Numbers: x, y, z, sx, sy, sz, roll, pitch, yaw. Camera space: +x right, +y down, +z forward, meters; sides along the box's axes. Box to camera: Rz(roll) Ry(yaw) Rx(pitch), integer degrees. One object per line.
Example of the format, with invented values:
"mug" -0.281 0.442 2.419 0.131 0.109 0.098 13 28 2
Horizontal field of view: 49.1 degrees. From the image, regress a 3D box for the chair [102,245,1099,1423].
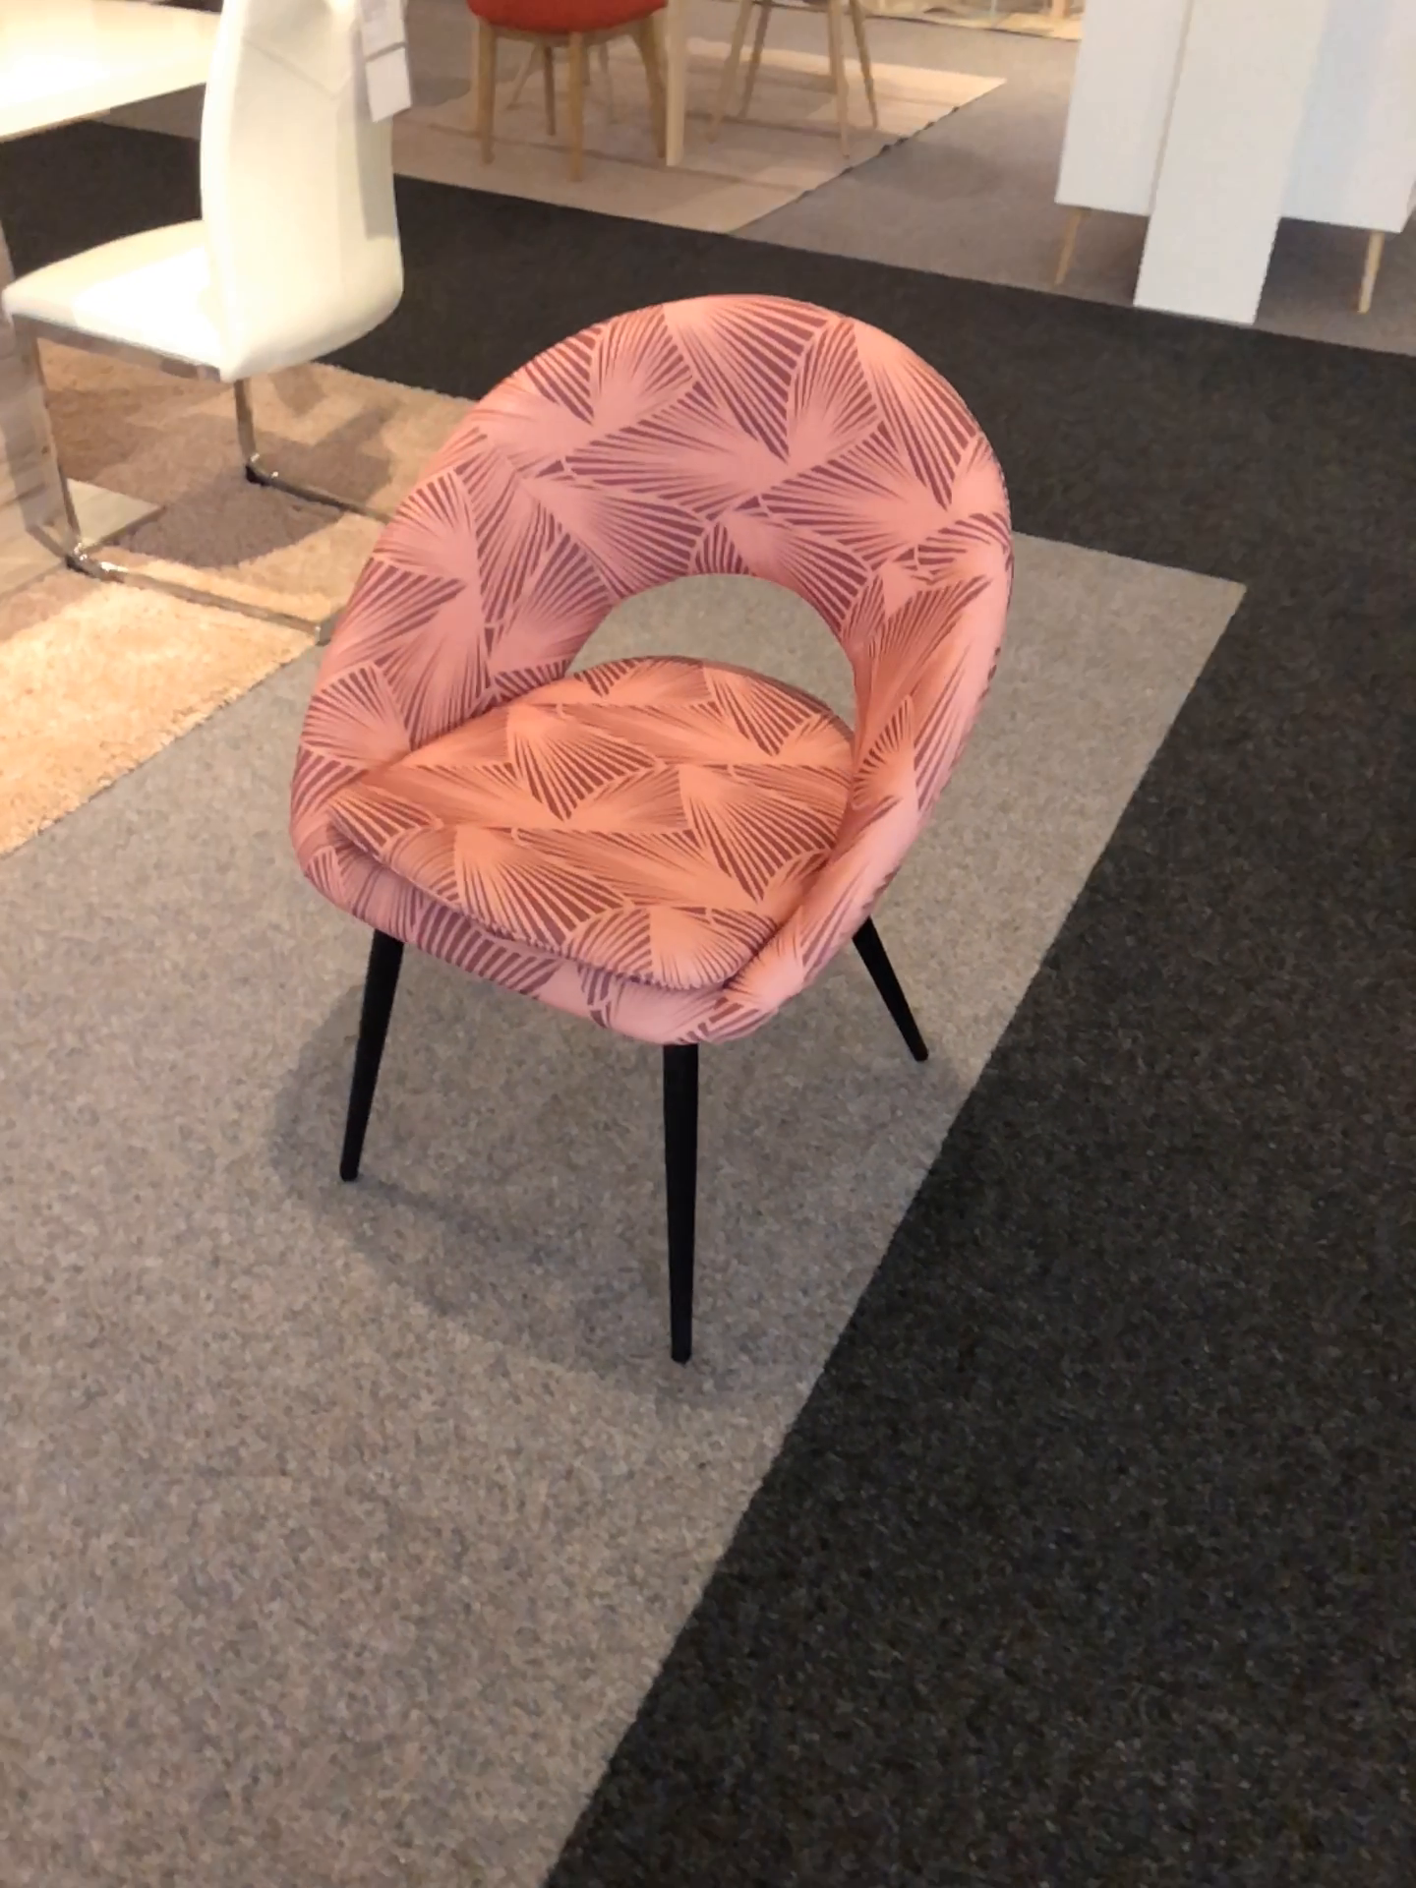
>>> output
"chair" -0.062 -0.125 1.465 0.530 0.795 0.604 23 44 24
